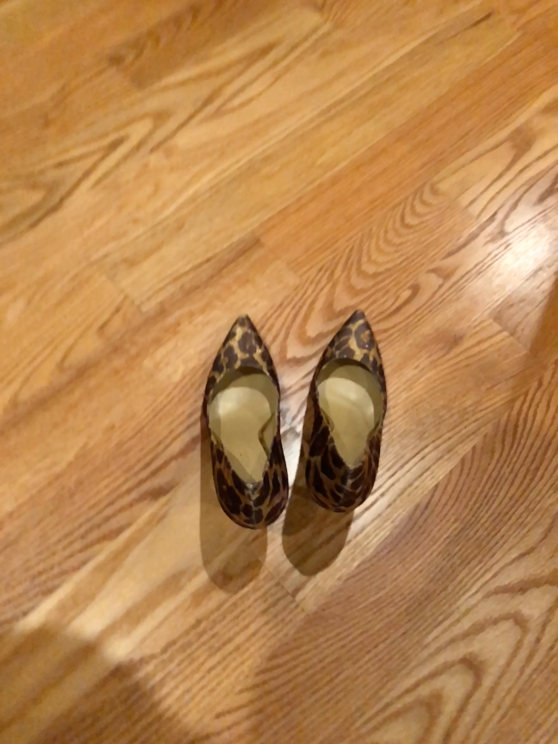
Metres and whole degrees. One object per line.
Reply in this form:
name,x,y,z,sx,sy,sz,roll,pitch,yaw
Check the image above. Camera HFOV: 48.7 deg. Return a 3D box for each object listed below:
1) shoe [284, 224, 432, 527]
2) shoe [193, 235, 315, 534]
shoe,0.068,0.008,0.549,0.083,0.144,0.219,10,65,1
shoe,-0.028,0.015,0.539,0.083,0.144,0.219,-2,65,-5
